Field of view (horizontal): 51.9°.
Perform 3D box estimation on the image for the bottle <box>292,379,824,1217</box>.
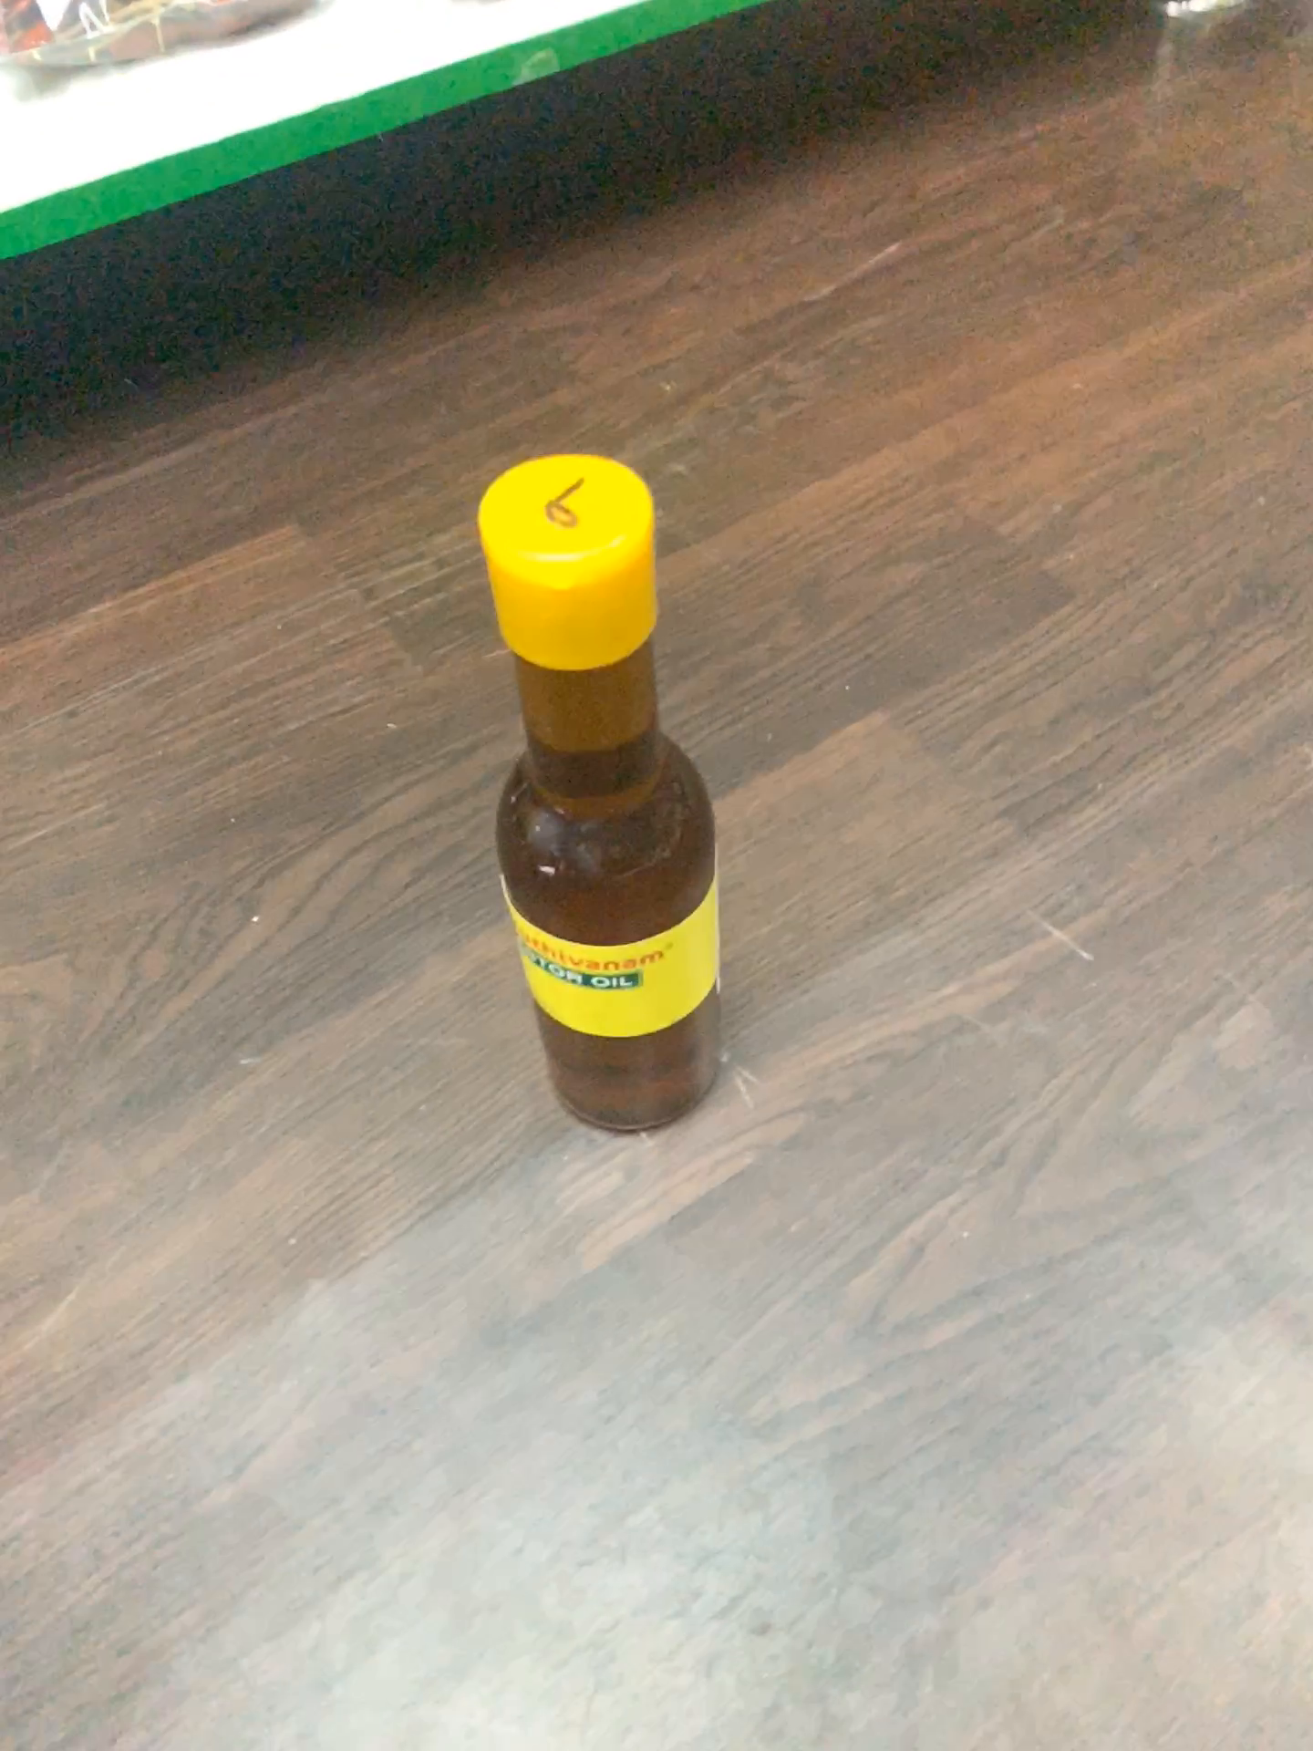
[{"bbox_3d":[-0.011,-0.003,0.280,0.060,0.169,0.060,-2,52,2],"label":"bottle"}]
